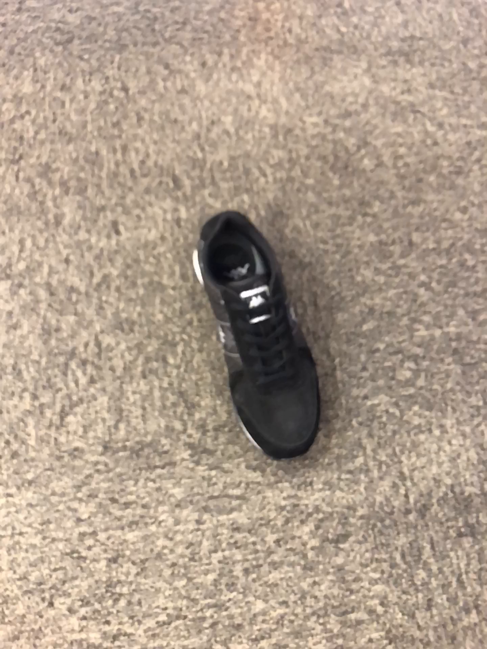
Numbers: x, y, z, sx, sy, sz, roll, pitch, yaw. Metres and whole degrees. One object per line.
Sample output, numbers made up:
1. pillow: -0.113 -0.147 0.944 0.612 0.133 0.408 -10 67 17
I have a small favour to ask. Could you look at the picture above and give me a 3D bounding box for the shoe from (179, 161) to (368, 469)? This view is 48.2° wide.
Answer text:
1. shoe: 0.019 -0.008 0.539 0.100 0.090 0.274 -14 78 -9
